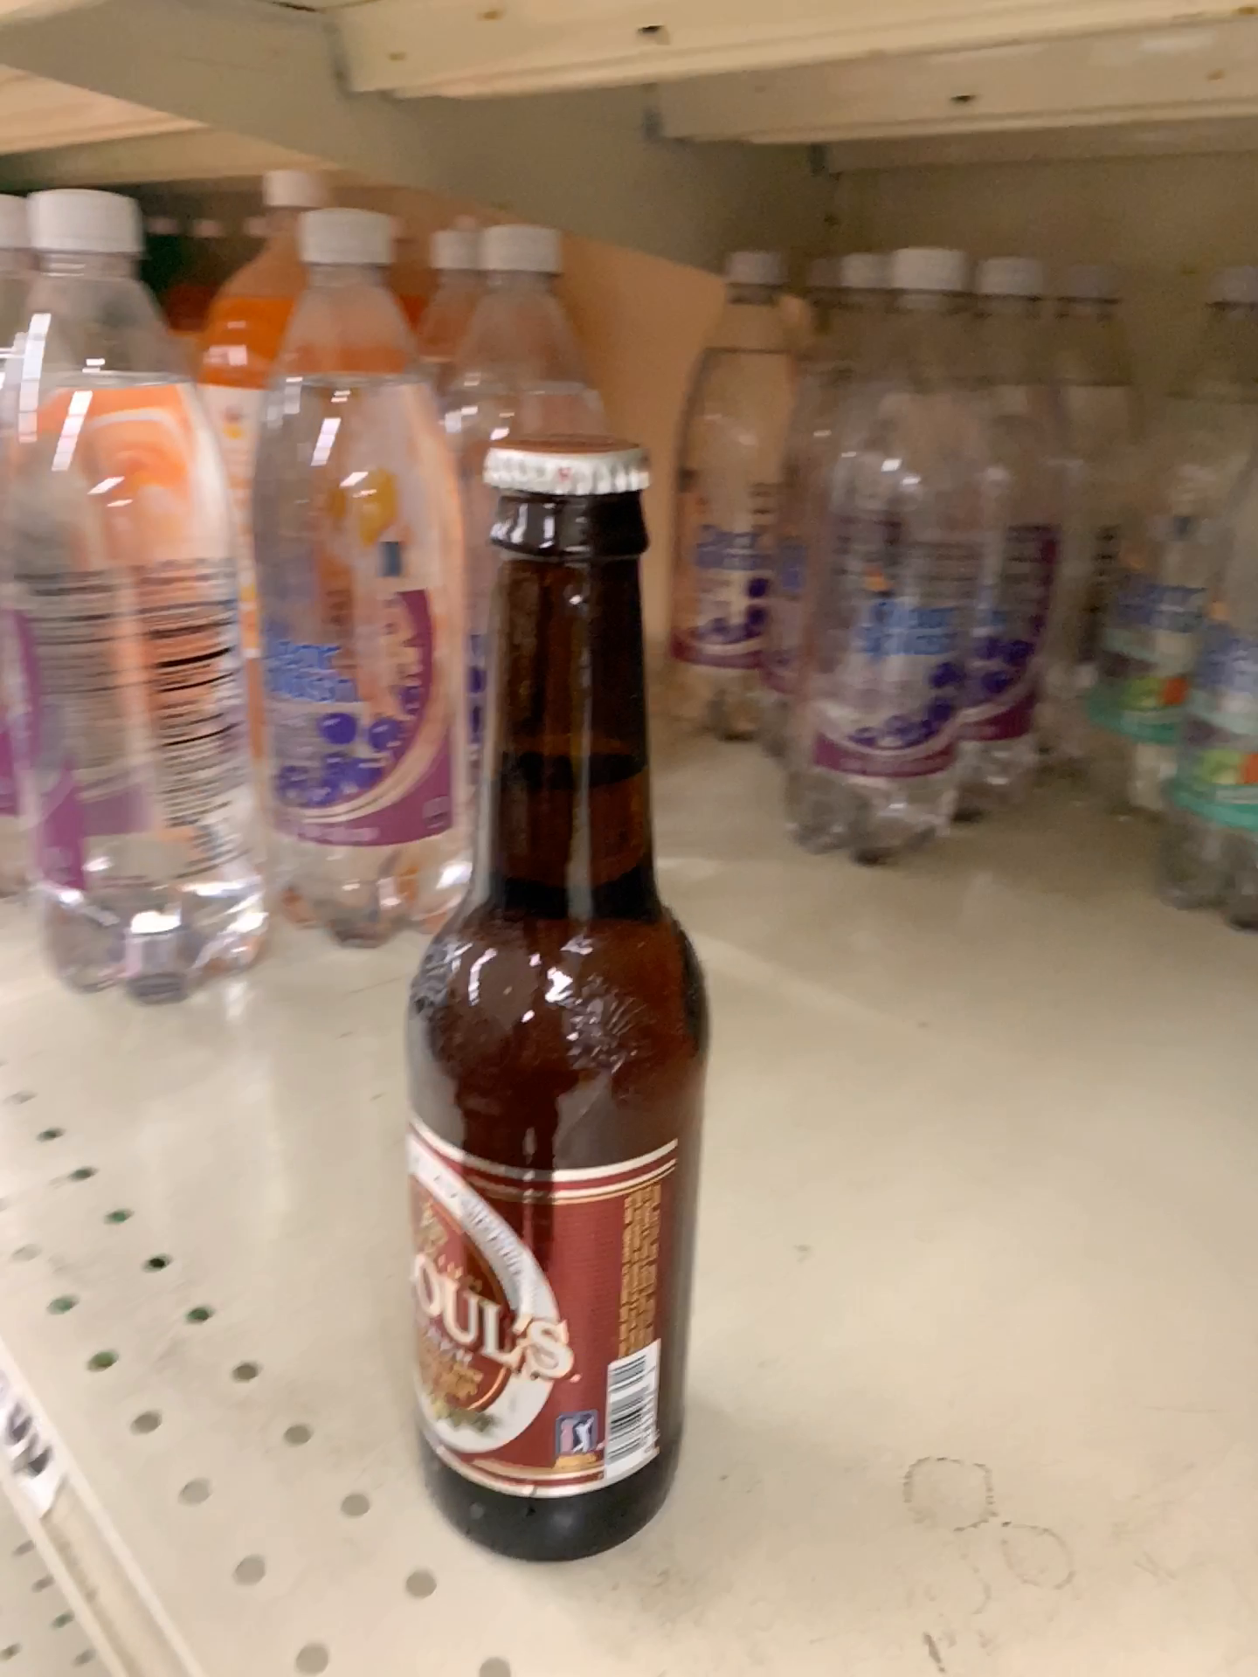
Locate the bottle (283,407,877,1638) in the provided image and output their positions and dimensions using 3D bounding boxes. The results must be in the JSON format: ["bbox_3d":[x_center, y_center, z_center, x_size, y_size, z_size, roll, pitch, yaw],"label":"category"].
[{"bbox_3d":[-0.013,0.035,0.254,0.070,0.219,0.070,1,23,-1],"label":"bottle"}]
